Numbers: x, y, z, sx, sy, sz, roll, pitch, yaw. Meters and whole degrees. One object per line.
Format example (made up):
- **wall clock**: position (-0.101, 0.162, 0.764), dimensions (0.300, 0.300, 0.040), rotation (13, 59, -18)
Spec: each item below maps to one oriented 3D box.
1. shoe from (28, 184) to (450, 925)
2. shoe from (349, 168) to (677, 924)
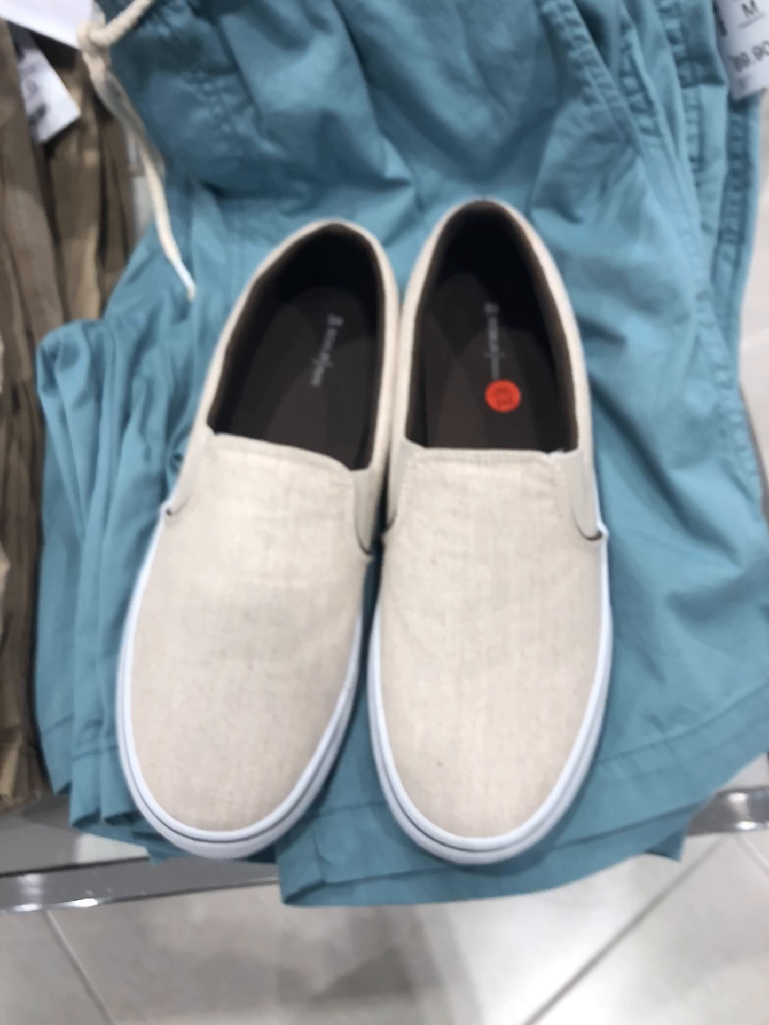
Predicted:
- **shoe**: position (-0.044, 0.011, 0.357), dimensions (0.100, 0.090, 0.260), rotation (9, 78, 7)
- **shoe**: position (0.047, 0.007, 0.340), dimensions (0.100, 0.090, 0.260), rotation (1, 77, 4)
